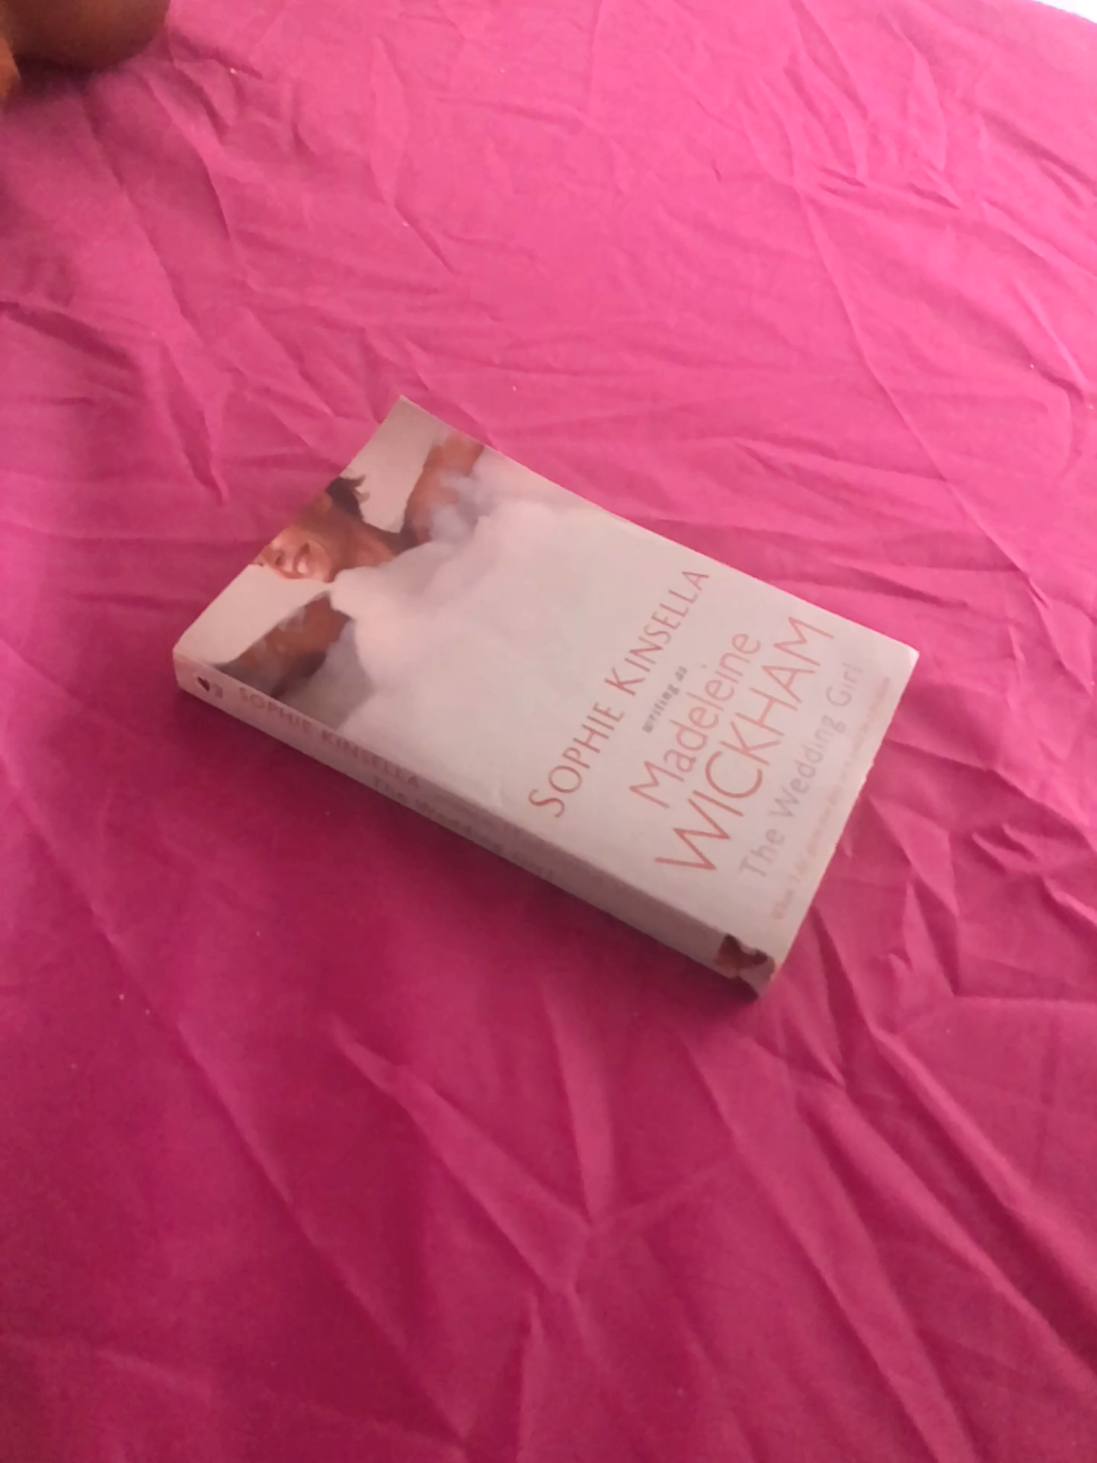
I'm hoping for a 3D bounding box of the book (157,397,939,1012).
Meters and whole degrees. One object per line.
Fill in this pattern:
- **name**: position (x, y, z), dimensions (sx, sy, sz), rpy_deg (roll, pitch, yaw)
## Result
- **book**: position (0.005, -0.021, 0.380), dimensions (0.201, 0.027, 0.135), rpy_deg (27, 54, 11)
